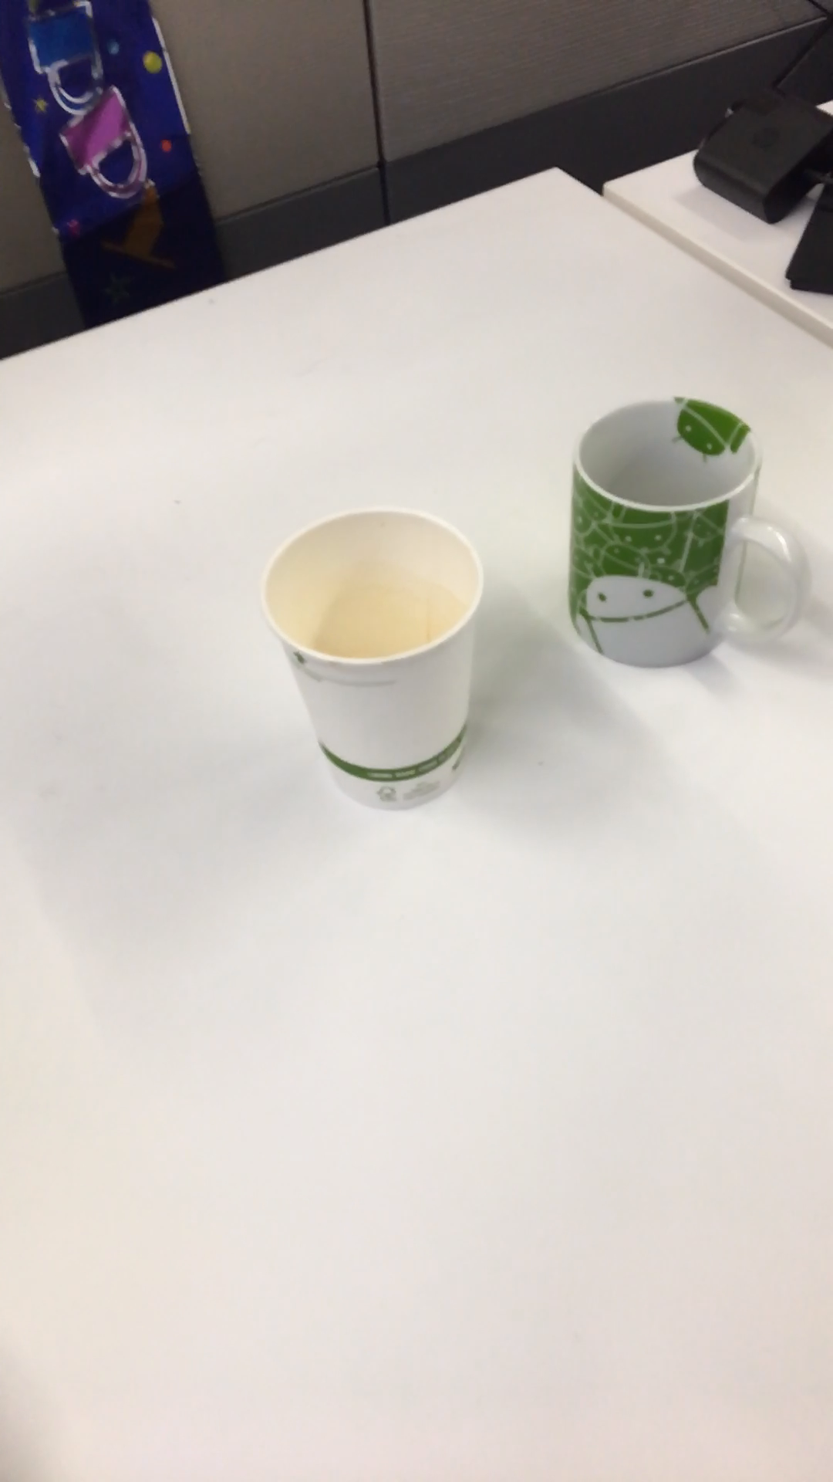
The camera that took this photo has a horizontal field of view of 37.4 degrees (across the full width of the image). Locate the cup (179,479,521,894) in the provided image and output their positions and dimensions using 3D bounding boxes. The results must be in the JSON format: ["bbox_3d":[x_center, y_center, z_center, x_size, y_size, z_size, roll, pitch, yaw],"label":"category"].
[{"bbox_3d":[-0.021,-0.022,0.497,0.090,0.110,0.090,-2,50,3],"label":"cup"}]

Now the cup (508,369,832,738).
[{"bbox_3d":[0.116,-0.086,0.548,0.120,0.090,0.090,32,59,28],"label":"cup"}]
